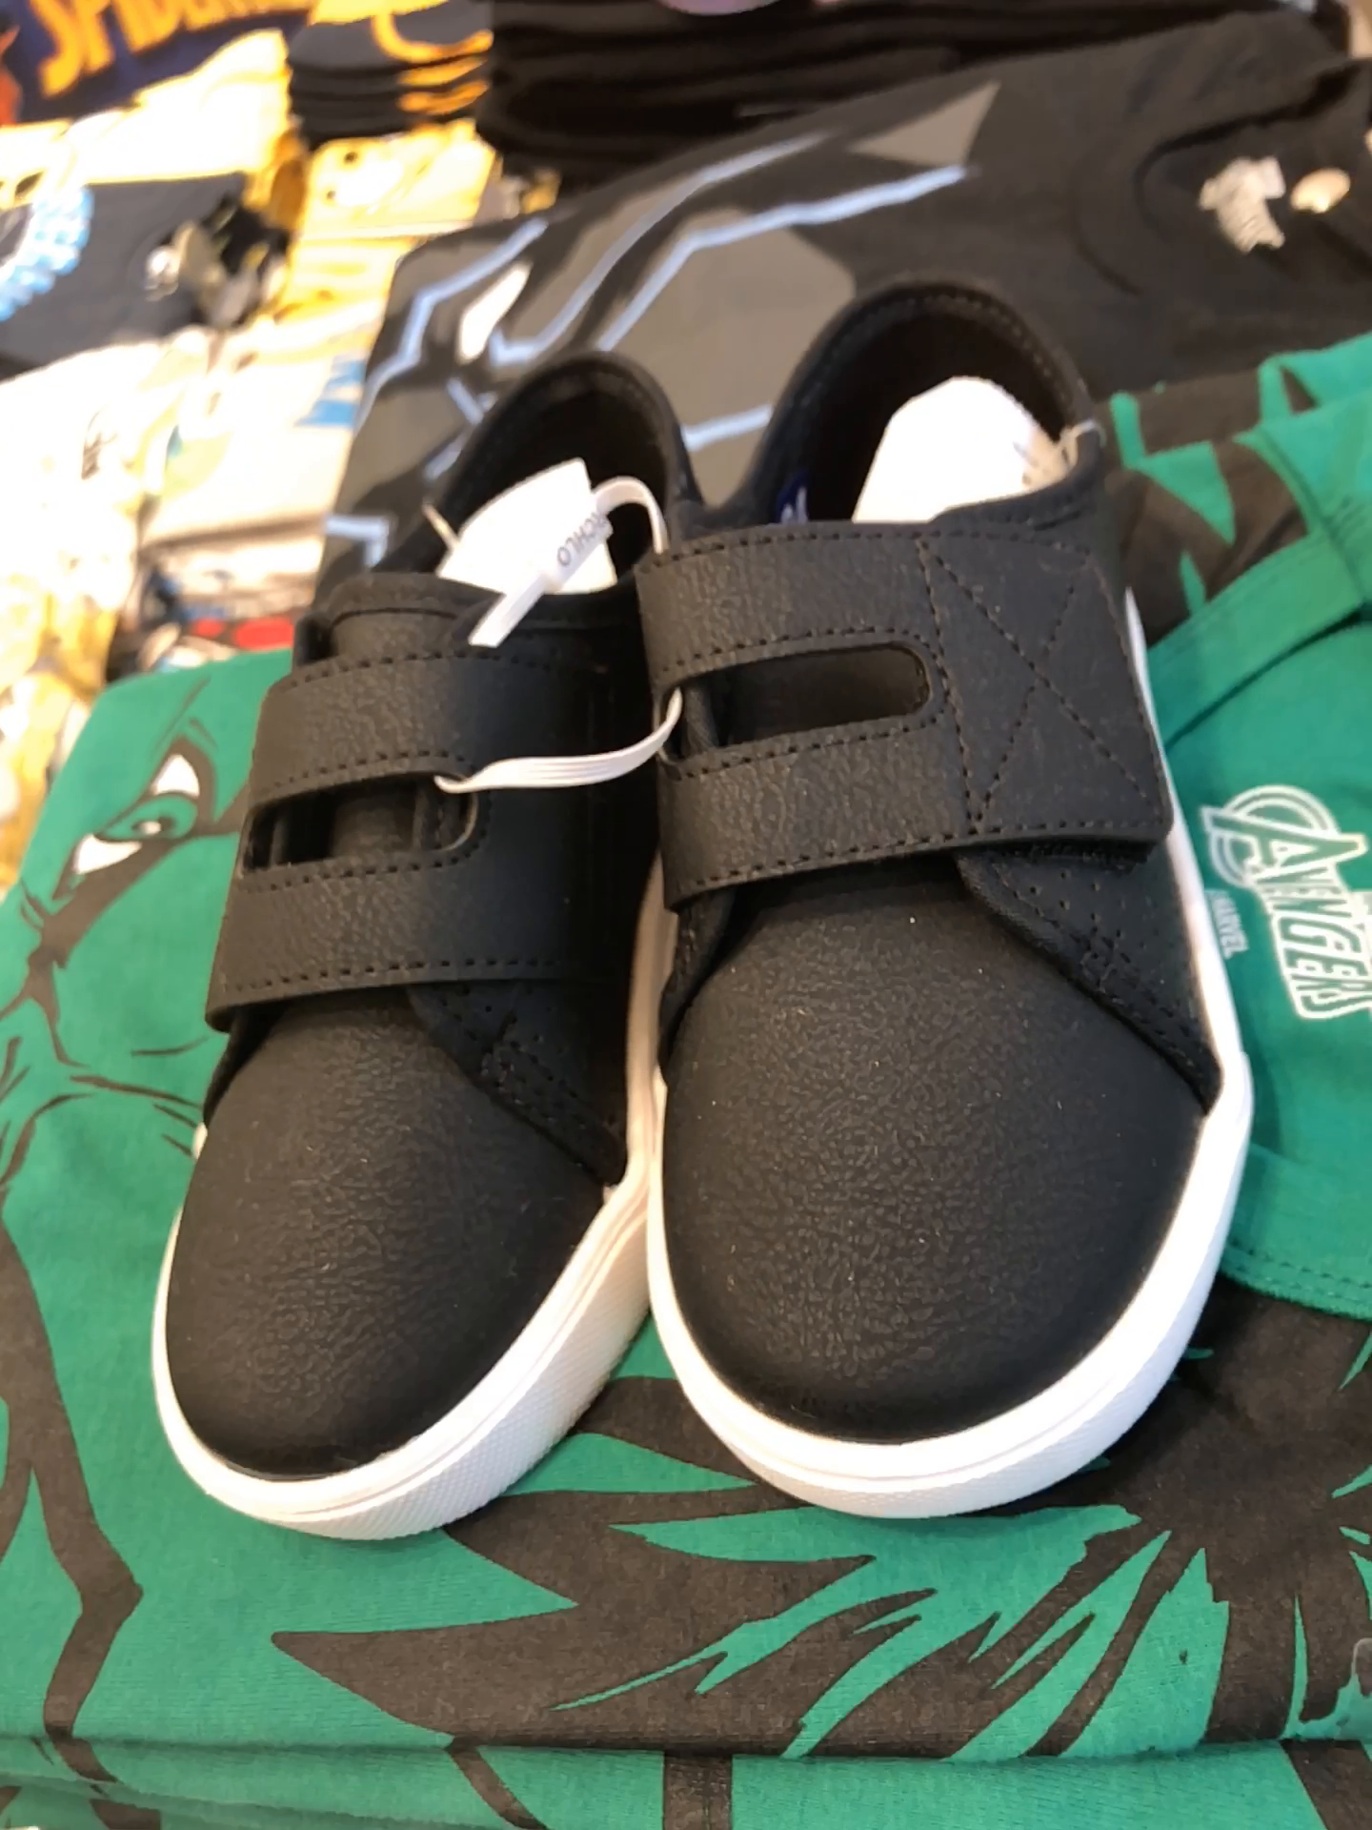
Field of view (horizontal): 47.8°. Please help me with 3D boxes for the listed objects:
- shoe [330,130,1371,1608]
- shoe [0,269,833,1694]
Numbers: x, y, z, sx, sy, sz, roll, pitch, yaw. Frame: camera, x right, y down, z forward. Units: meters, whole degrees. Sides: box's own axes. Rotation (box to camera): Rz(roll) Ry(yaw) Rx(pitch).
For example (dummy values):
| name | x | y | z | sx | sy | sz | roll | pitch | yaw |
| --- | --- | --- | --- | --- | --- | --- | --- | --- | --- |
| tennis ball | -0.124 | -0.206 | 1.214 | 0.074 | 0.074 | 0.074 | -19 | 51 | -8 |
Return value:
| name | x | y | z | sx | sy | sz | roll | pitch | yaw |
| --- | --- | --- | --- | --- | --- | --- | --- | --- | --- |
| shoe | 0.031 | -0.011 | 0.210 | 0.090 | 0.090 | 0.171 | -2 | 55 | 13 |
| shoe | -0.038 | 0.002 | 0.220 | 0.080 | 0.090 | 0.171 | 4 | 56 | 17 |
